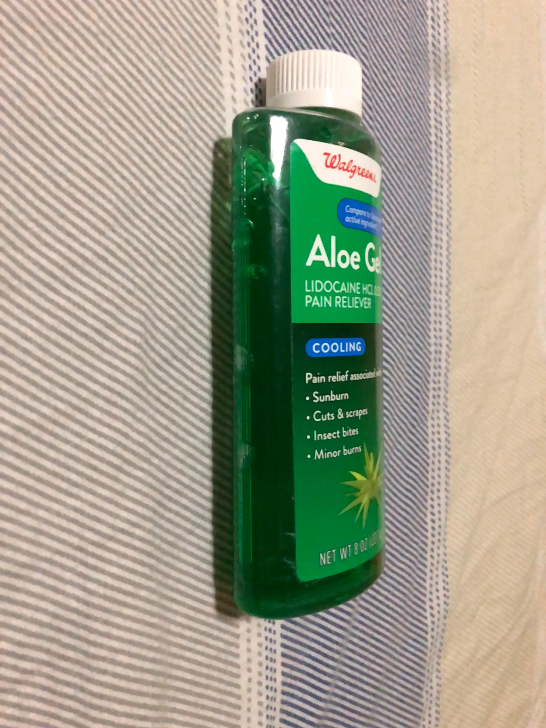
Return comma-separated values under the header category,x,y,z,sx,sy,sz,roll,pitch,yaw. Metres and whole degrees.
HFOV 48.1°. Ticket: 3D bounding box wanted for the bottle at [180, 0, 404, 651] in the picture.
category,x,y,z,sx,sy,sz,roll,pitch,yaw
bottle,0.011,-0.013,0.204,0.080,0.030,0.180,-4,94,-52
